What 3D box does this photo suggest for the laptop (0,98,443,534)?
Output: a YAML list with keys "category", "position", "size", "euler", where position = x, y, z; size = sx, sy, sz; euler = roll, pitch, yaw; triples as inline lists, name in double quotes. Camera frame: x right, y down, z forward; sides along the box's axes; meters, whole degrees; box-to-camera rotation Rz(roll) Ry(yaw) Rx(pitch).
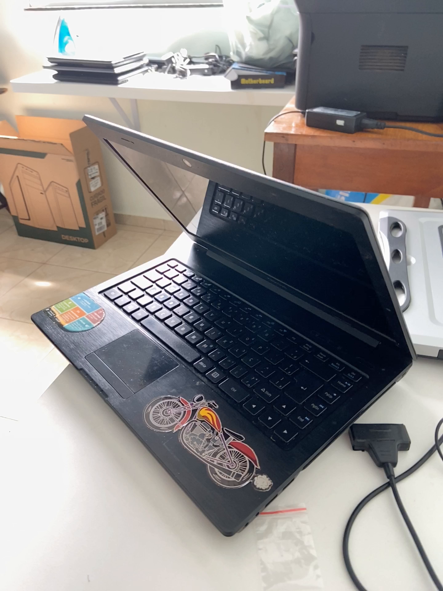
- category: "laptop"
  position: [-0.022, -0.036, 0.414]
  size: [0.233, 0.189, 0.331]
  euler: [-28, 41, -32]
